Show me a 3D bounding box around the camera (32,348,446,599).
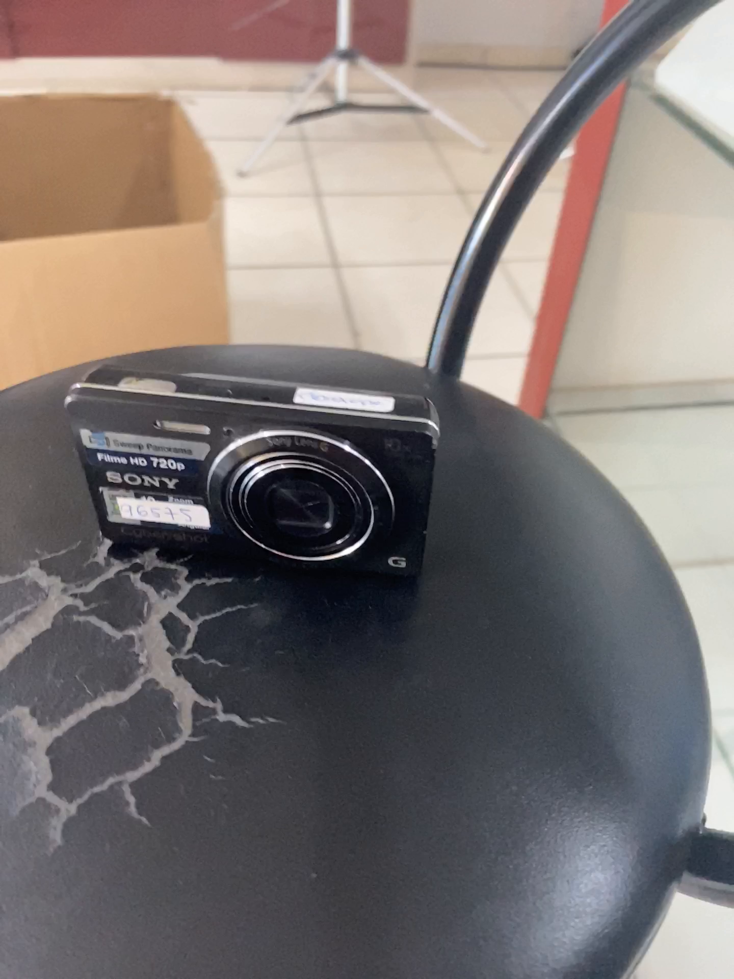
[{"bbox_3d":[-0.031,-0.003,0.204,0.096,0.051,0.024,8,43,4],"label":"camera"}]
